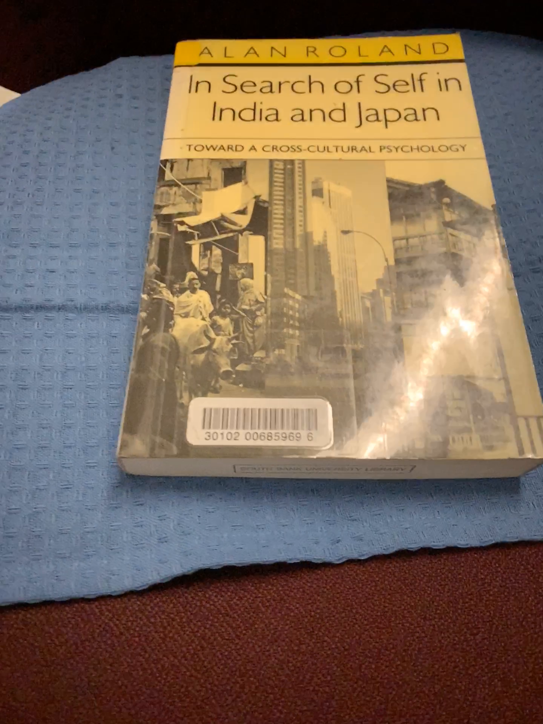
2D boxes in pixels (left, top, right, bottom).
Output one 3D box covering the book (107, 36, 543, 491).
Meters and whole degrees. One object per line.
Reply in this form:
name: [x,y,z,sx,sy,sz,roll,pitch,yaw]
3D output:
book: [0.025,-0.062,0.256,0.155,0.032,0.233,0,61,1]
